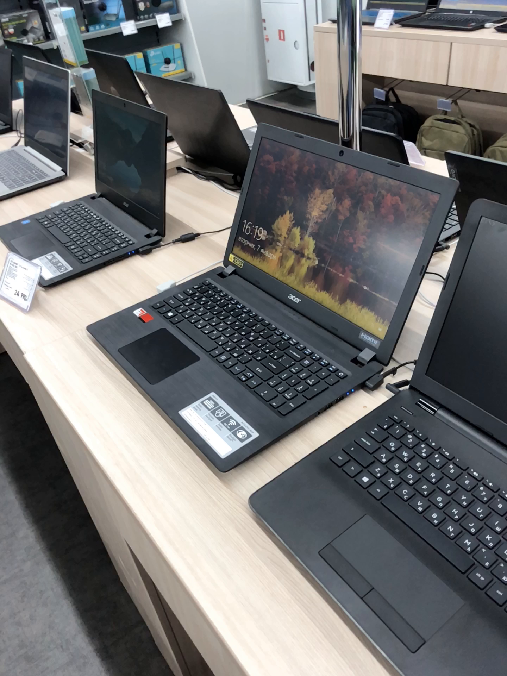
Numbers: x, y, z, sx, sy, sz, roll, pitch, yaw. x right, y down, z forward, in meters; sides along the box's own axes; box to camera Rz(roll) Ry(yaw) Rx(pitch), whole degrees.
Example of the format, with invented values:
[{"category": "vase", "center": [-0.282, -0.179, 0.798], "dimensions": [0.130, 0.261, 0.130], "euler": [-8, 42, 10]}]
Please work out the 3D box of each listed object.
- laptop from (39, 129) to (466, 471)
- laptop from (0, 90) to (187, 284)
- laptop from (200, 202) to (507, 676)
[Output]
[{"category": "laptop", "center": [-0.008, -0.094, 0.747], "dimensions": [0.367, 0.208, 0.374], "euler": [-29, 41, -25]}, {"category": "laptop", "center": [-0.358, -0.317, 1.101], "dimensions": [0.301, 0.214, 0.307], "euler": [-28, 42, -24]}, {"category": "laptop", "center": [0.226, 0.091, 0.452], "dimensions": [0.338, 0.212, 0.379], "euler": [-27, 41, -24]}]
